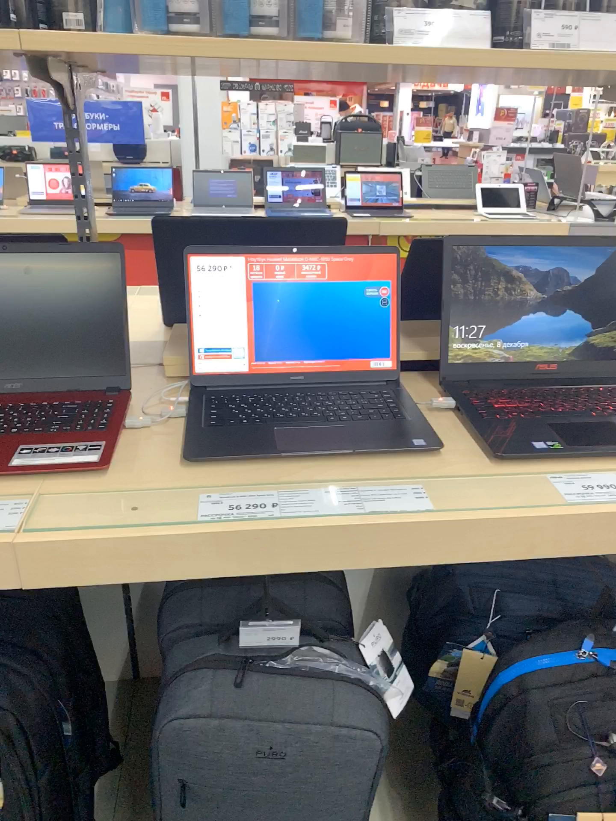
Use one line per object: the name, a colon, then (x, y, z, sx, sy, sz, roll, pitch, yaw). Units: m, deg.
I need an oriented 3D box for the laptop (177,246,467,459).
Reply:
laptop: (-0.001, -0.105, 0.926, 0.348, 0.209, 0.304, -2, 25, -7)
